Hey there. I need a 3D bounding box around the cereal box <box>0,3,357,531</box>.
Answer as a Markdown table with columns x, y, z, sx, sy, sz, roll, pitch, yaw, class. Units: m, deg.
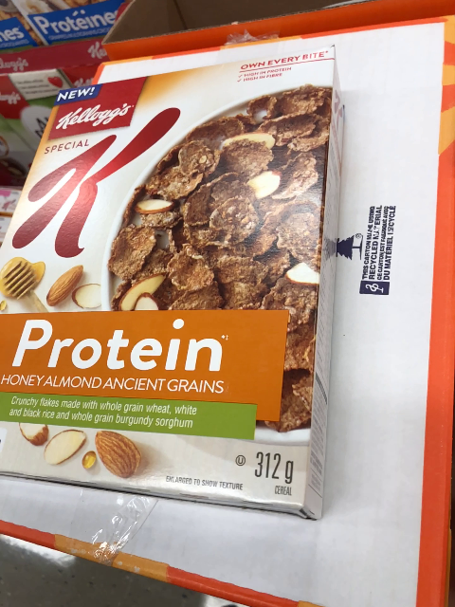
| x | y | z | sx | sy | sz | roll | pitch | yaw | class |
| --- | --- | --- | --- | --- | --- | --- | --- | --- | --- |
| -0.038 | -0.031 | 0.281 | 0.200 | 0.060 | 0.260 | -1 | 63 | 21 | cereal box |
